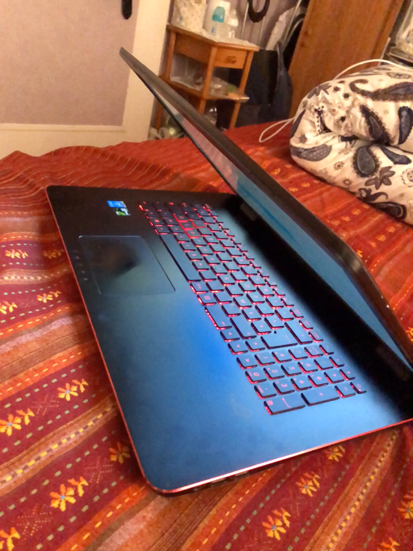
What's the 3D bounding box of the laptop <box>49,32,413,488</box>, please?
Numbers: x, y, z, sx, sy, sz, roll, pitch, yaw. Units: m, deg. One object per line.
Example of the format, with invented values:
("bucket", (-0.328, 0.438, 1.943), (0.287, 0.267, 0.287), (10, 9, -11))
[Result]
("laptop", (0.026, -0.067, 0.431), (0.268, 0.168, 0.400), (-3, 37, -28))
